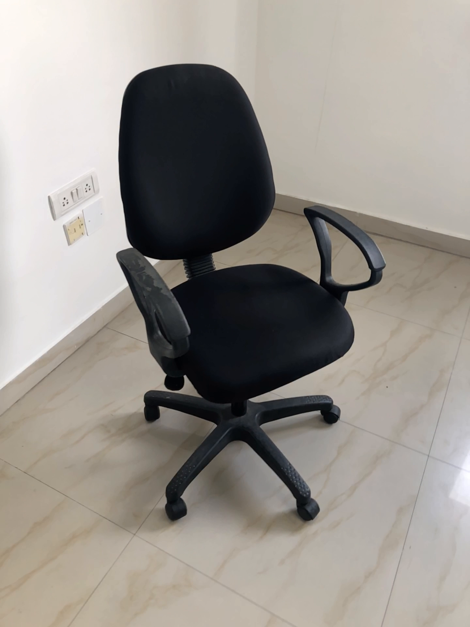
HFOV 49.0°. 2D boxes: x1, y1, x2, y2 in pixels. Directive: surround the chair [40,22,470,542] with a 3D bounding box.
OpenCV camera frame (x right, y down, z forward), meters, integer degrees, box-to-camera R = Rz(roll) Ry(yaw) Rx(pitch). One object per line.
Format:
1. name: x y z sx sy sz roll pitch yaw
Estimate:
1. chair: 0.073 -0.129 1.257 0.682 0.884 0.673 -24 44 -29
